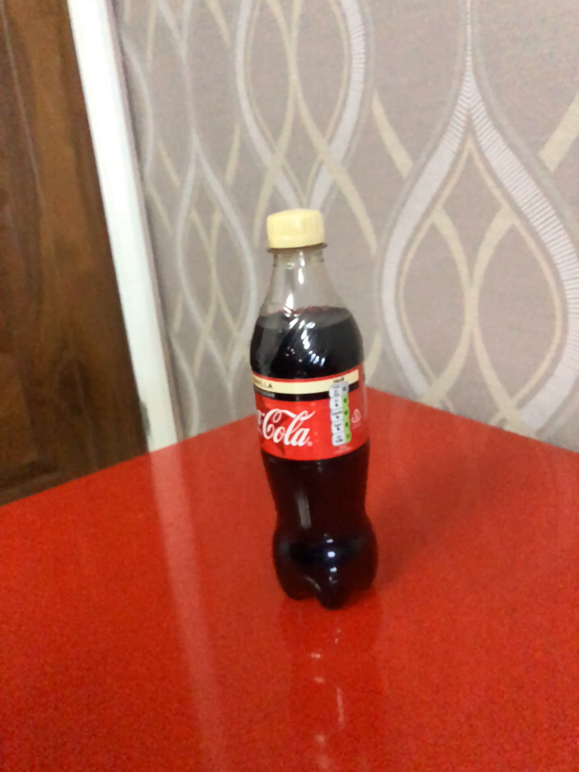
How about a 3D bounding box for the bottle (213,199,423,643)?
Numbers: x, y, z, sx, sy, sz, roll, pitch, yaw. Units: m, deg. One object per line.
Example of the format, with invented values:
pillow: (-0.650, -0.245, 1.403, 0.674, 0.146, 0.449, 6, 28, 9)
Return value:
bottle: (0.022, 0.017, 0.383, 0.080, 0.239, 0.070, -17, 21, -30)
